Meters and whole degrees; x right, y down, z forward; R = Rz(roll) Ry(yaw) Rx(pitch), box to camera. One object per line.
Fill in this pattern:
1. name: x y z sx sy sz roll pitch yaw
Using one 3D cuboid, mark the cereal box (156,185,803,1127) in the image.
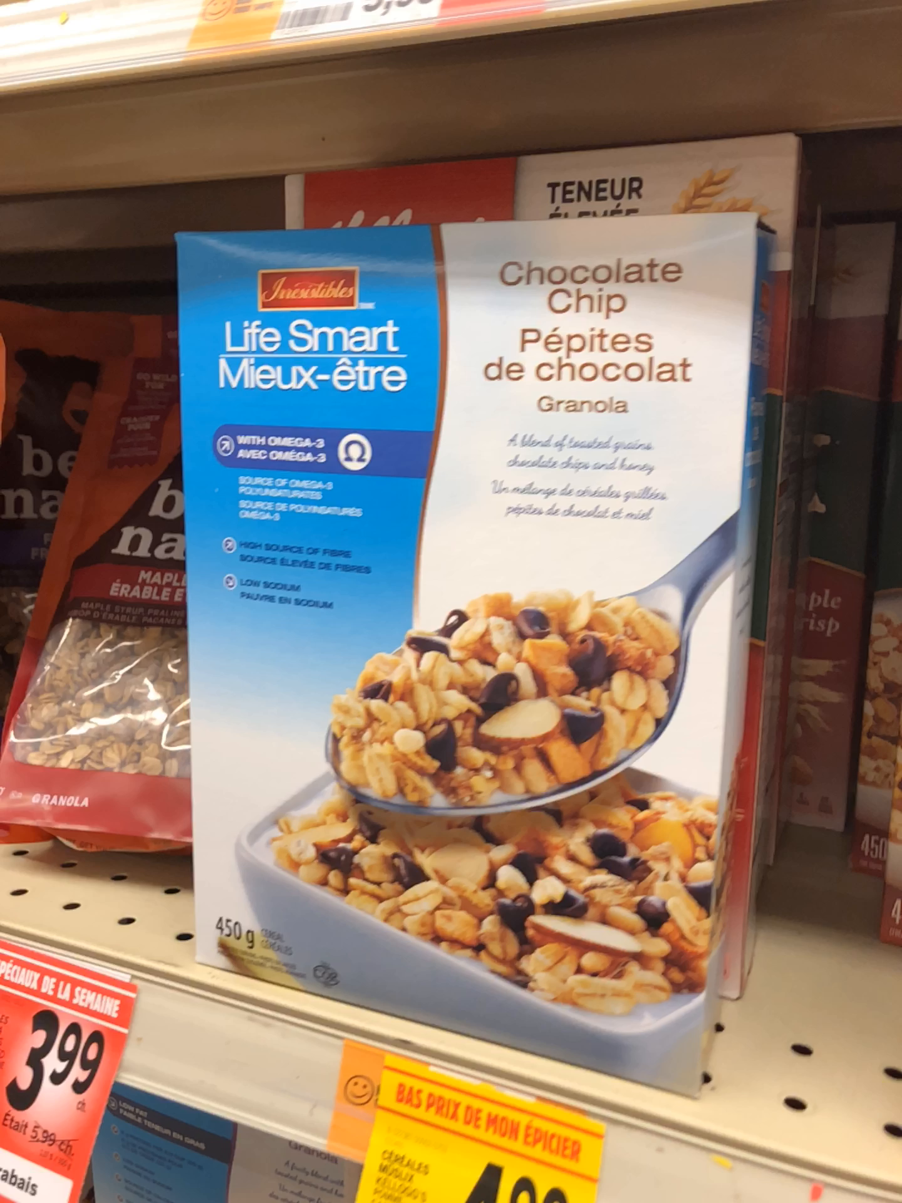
1. cereal box: 0.001 0.010 0.305 0.180 0.239 0.050 5 9 21
